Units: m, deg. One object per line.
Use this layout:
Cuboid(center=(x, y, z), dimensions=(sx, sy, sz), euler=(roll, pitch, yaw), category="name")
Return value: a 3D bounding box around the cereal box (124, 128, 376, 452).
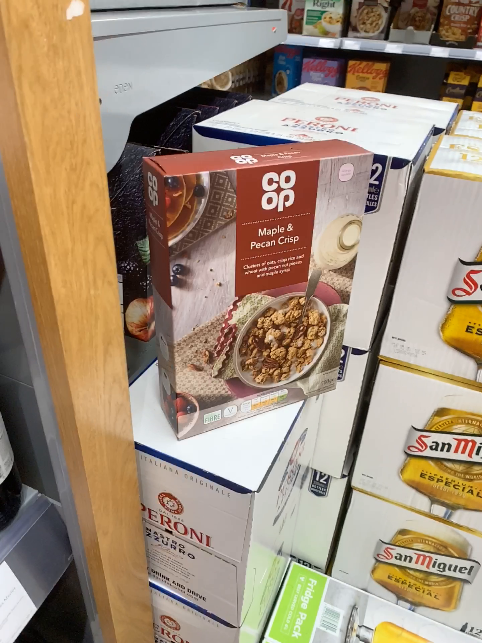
Cuboid(center=(0.007, -0.026, 0.431), dimensions=(0.180, 0.248, 0.060), euler=(-14, 35, -24), category="cereal box")
